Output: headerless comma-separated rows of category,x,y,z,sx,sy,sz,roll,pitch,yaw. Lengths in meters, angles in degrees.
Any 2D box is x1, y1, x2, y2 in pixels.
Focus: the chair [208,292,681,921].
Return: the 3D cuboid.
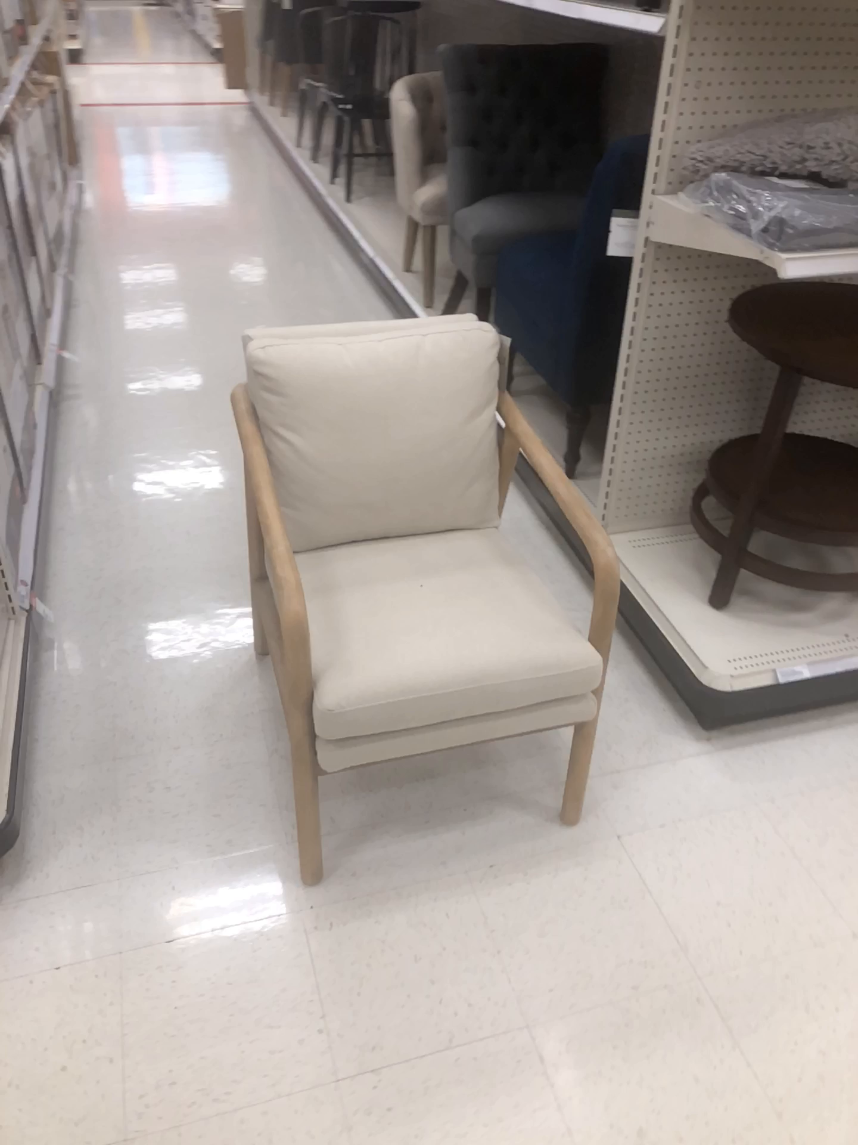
chair,-0.044,0.013,1.752,0.580,0.806,0.764,-7,35,-14
